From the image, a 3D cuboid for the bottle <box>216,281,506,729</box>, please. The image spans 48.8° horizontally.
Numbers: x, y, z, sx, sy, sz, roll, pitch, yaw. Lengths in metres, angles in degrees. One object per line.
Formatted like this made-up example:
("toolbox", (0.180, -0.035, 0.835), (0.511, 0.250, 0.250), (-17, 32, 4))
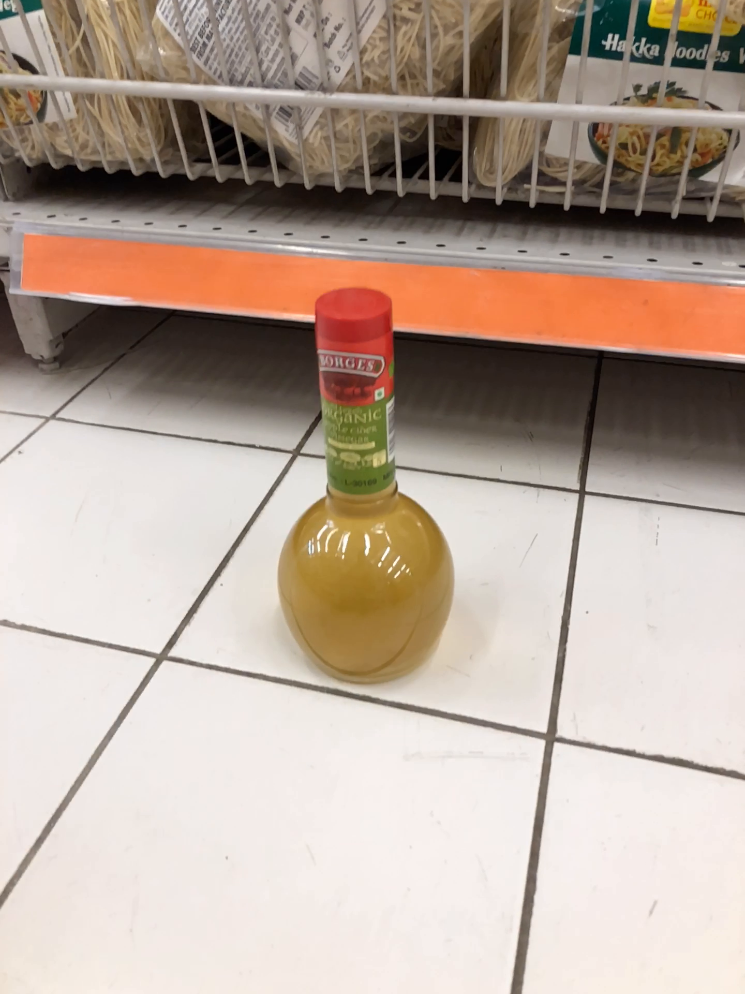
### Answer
("bottle", (0.002, 0.004, 0.372), (0.090, 0.169, 0.091), (-2, 35, 1))
